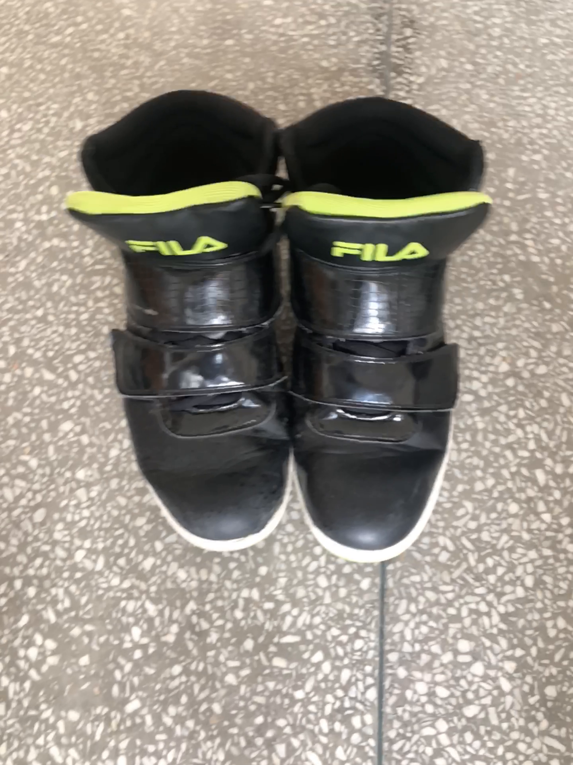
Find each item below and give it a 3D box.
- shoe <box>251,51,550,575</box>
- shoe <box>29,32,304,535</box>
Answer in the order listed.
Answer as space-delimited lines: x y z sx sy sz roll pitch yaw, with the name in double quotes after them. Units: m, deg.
0.057 -0.031 0.368 0.120 0.148 0.250 6 69 1 "shoe"
-0.054 -0.053 0.396 0.120 0.148 0.270 0 69 -1 "shoe"
